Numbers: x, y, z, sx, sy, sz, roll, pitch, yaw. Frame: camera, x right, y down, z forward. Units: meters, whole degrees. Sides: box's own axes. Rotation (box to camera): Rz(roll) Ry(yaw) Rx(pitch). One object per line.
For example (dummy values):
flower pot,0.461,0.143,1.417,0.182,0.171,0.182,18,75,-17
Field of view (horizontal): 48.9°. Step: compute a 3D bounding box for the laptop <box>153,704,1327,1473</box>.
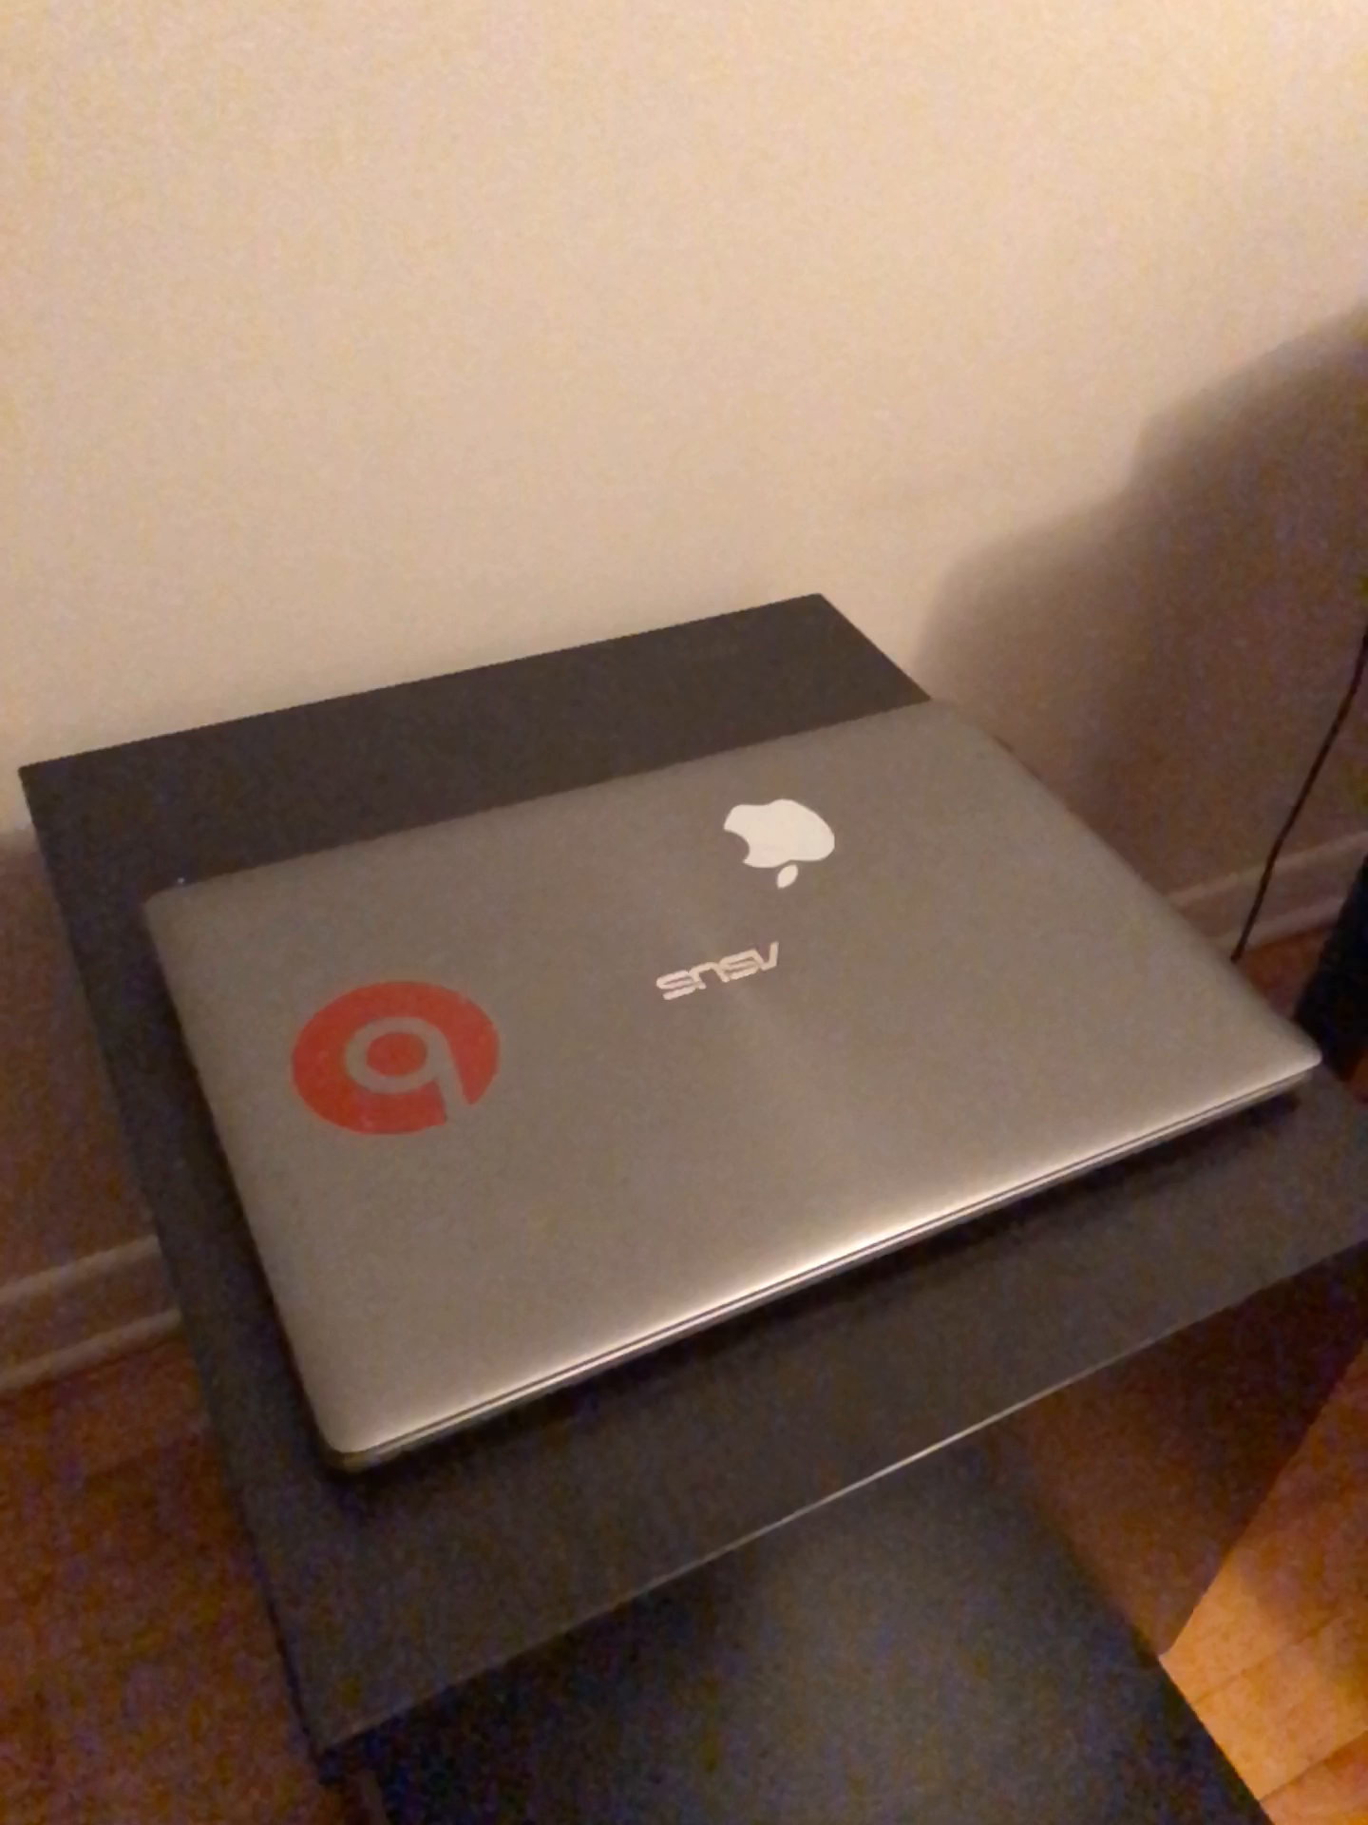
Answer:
laptop,0.016,0.031,0.577,0.374,0.010,0.250,-16,47,-21
